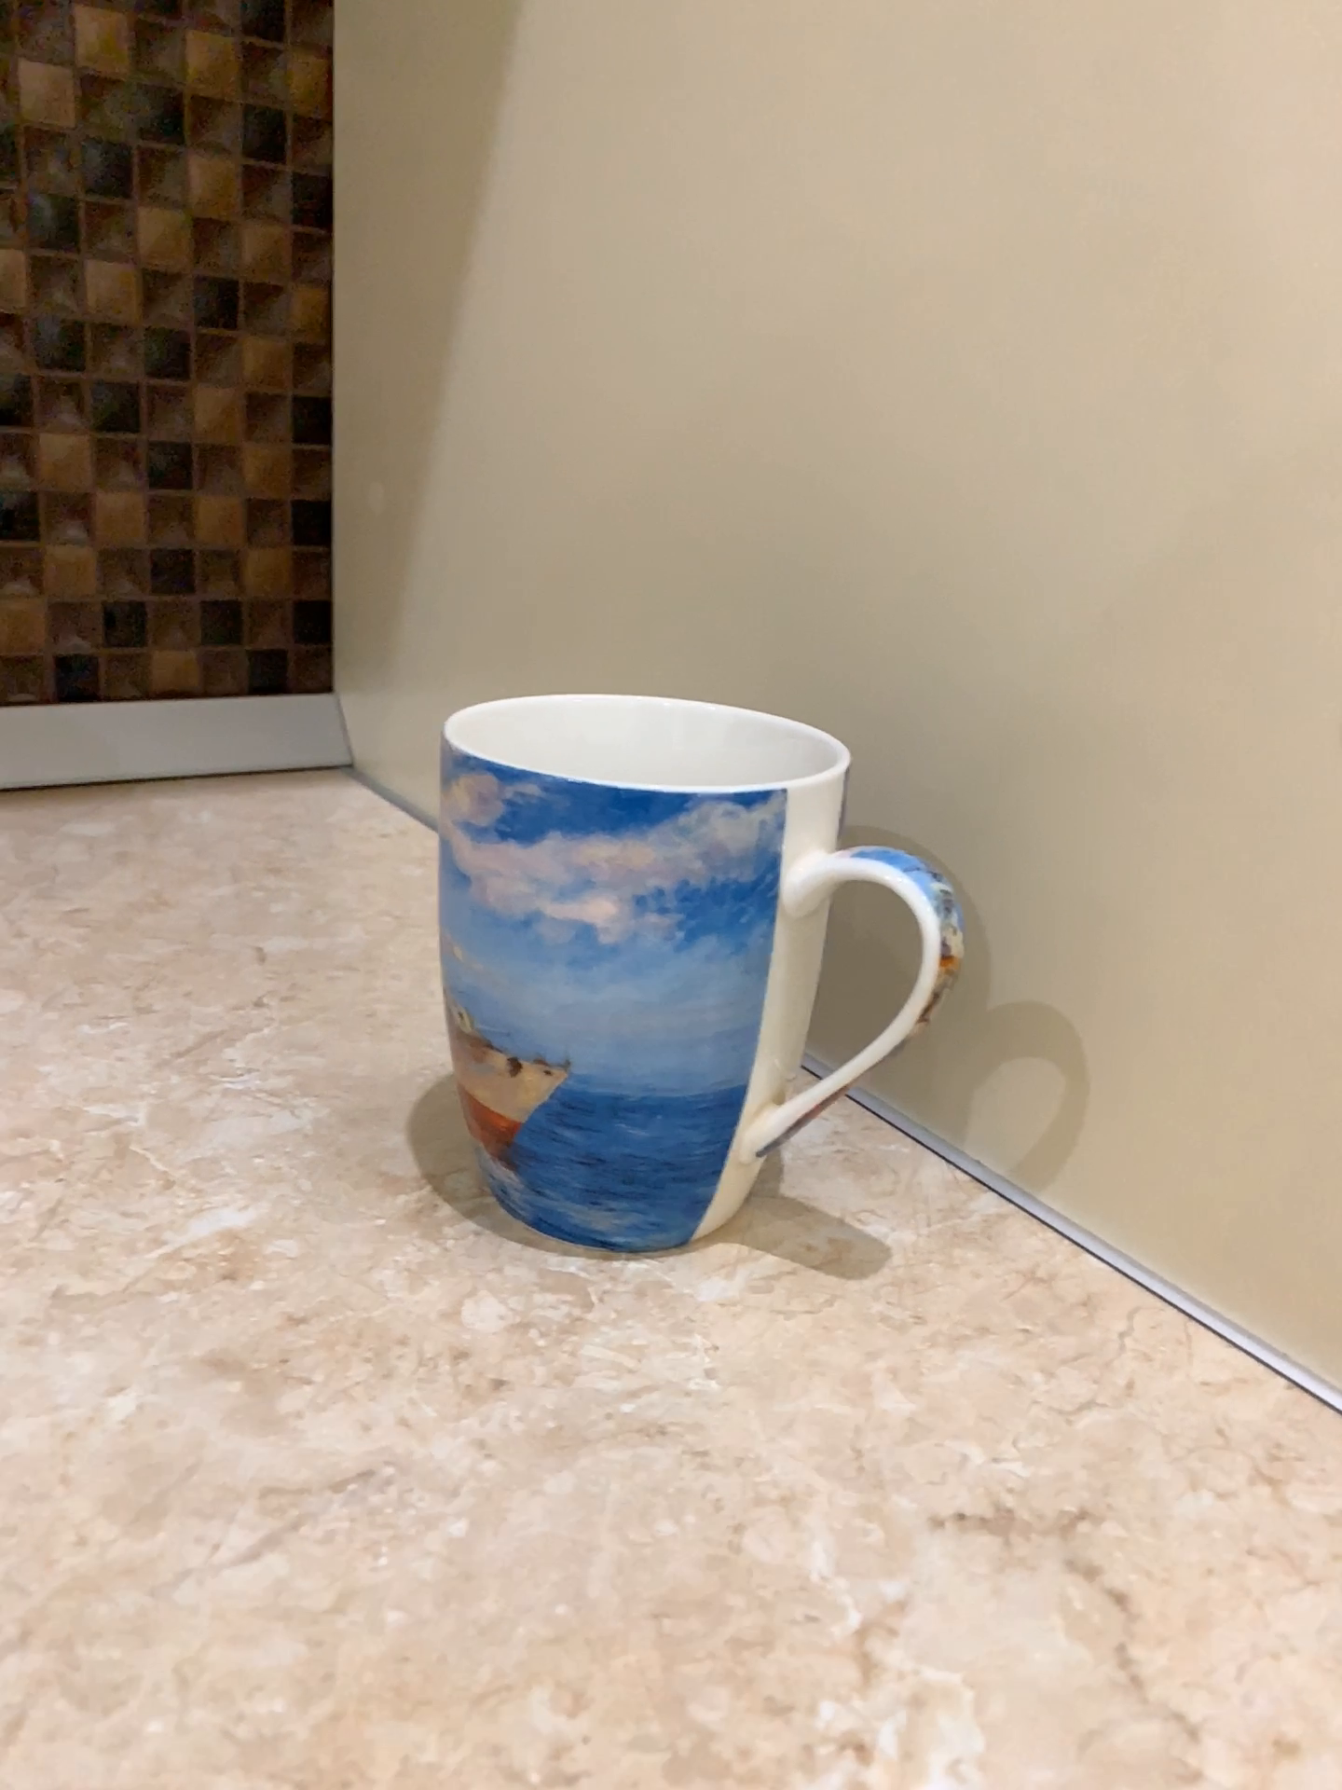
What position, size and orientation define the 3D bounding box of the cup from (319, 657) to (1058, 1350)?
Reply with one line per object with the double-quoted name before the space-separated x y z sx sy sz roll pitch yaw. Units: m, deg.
"cup" 0.005 0.011 0.268 0.114 0.087 0.083 11 19 18
